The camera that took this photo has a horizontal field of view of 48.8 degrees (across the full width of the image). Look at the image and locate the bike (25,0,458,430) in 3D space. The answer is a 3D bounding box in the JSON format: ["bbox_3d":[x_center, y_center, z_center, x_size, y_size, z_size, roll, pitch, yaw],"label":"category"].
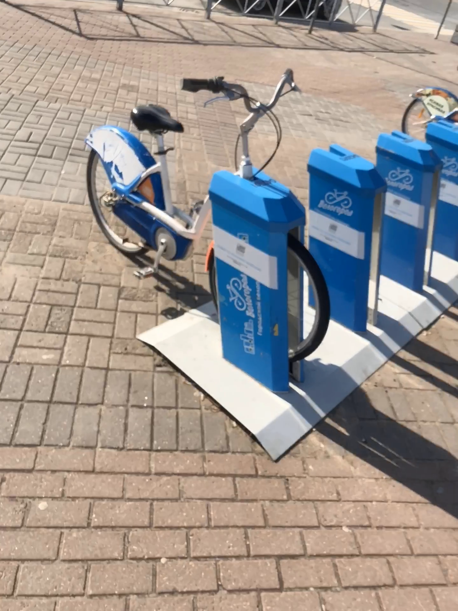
[{"bbox_3d":[-0.144,-0.507,2.225,1.678,1.233,0.684,35,40,30],"label":"bike"}]
